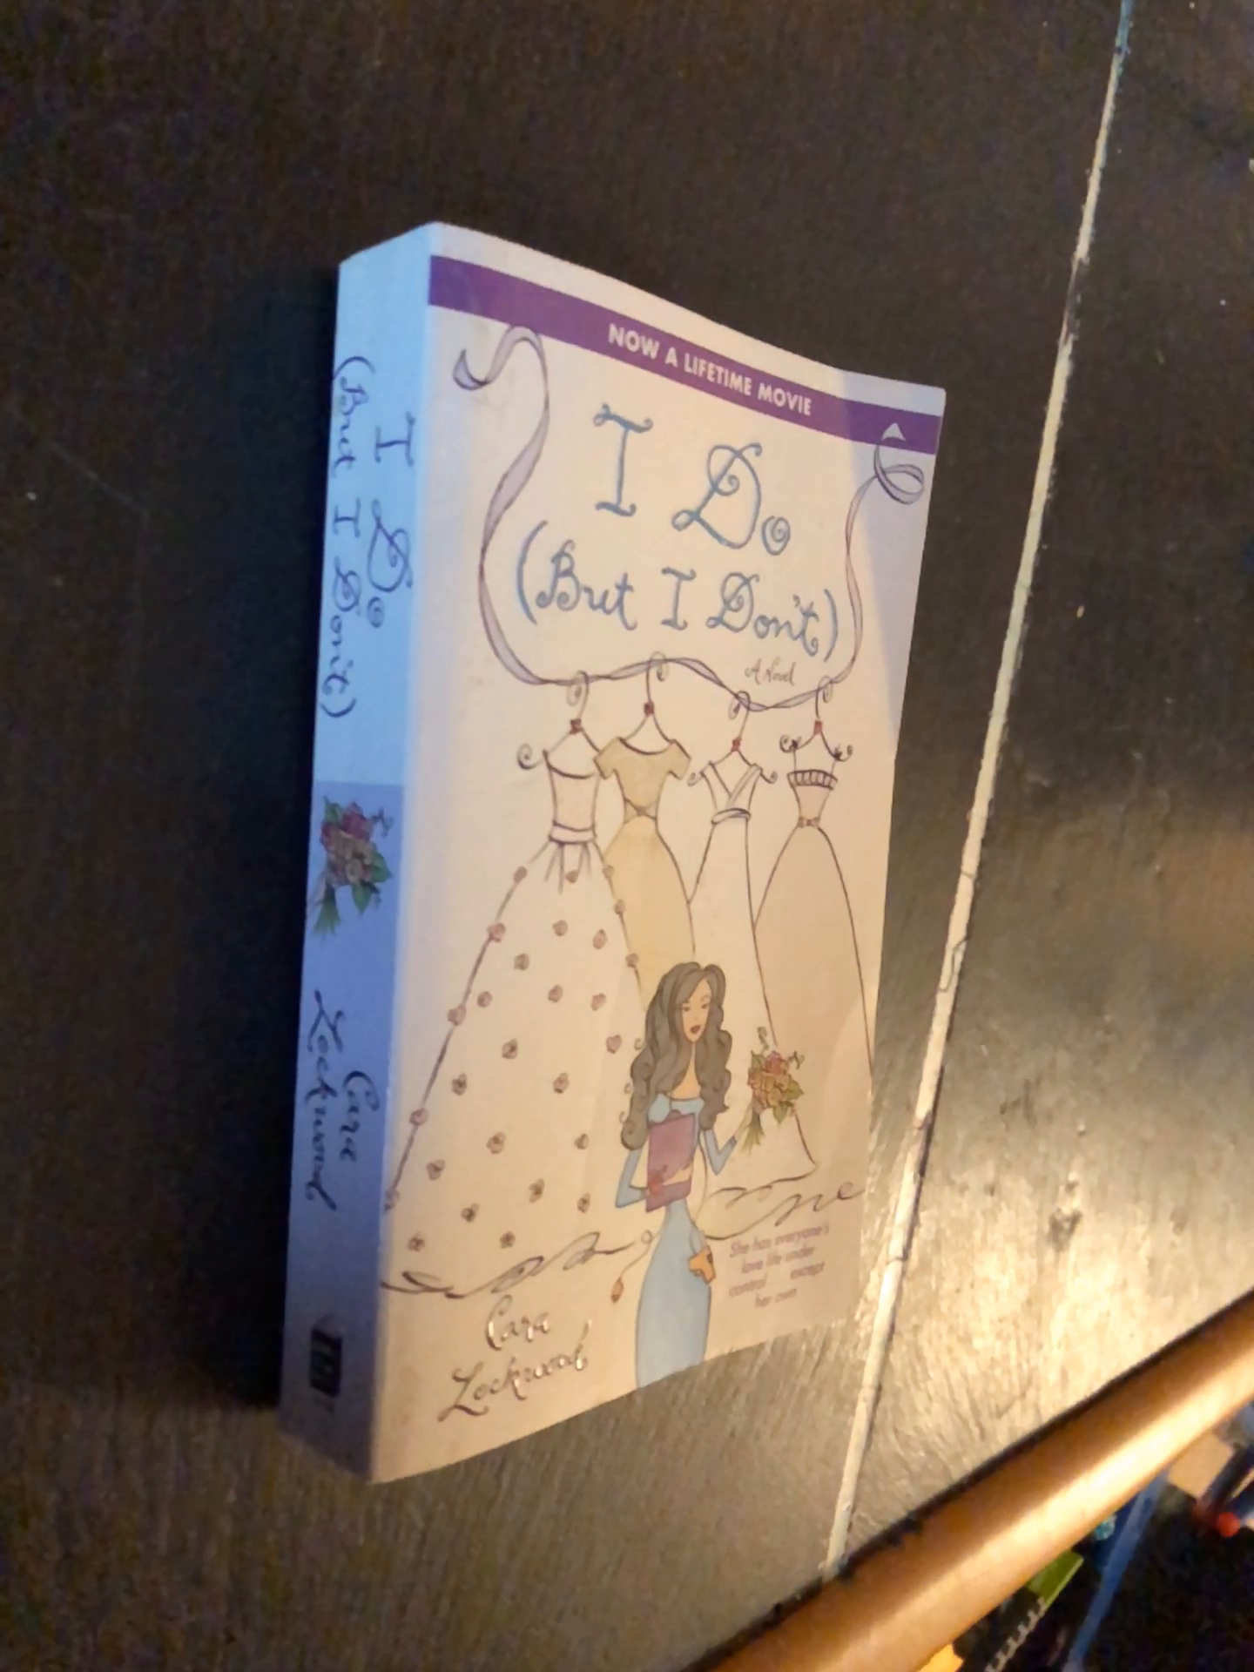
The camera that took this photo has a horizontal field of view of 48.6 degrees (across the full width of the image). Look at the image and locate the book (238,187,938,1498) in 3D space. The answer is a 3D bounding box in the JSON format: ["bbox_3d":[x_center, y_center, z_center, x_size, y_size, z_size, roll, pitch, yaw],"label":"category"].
[{"bbox_3d":[0.000,0.002,0.224,0.111,0.032,0.164,1,93,-45],"label":"book"}]
